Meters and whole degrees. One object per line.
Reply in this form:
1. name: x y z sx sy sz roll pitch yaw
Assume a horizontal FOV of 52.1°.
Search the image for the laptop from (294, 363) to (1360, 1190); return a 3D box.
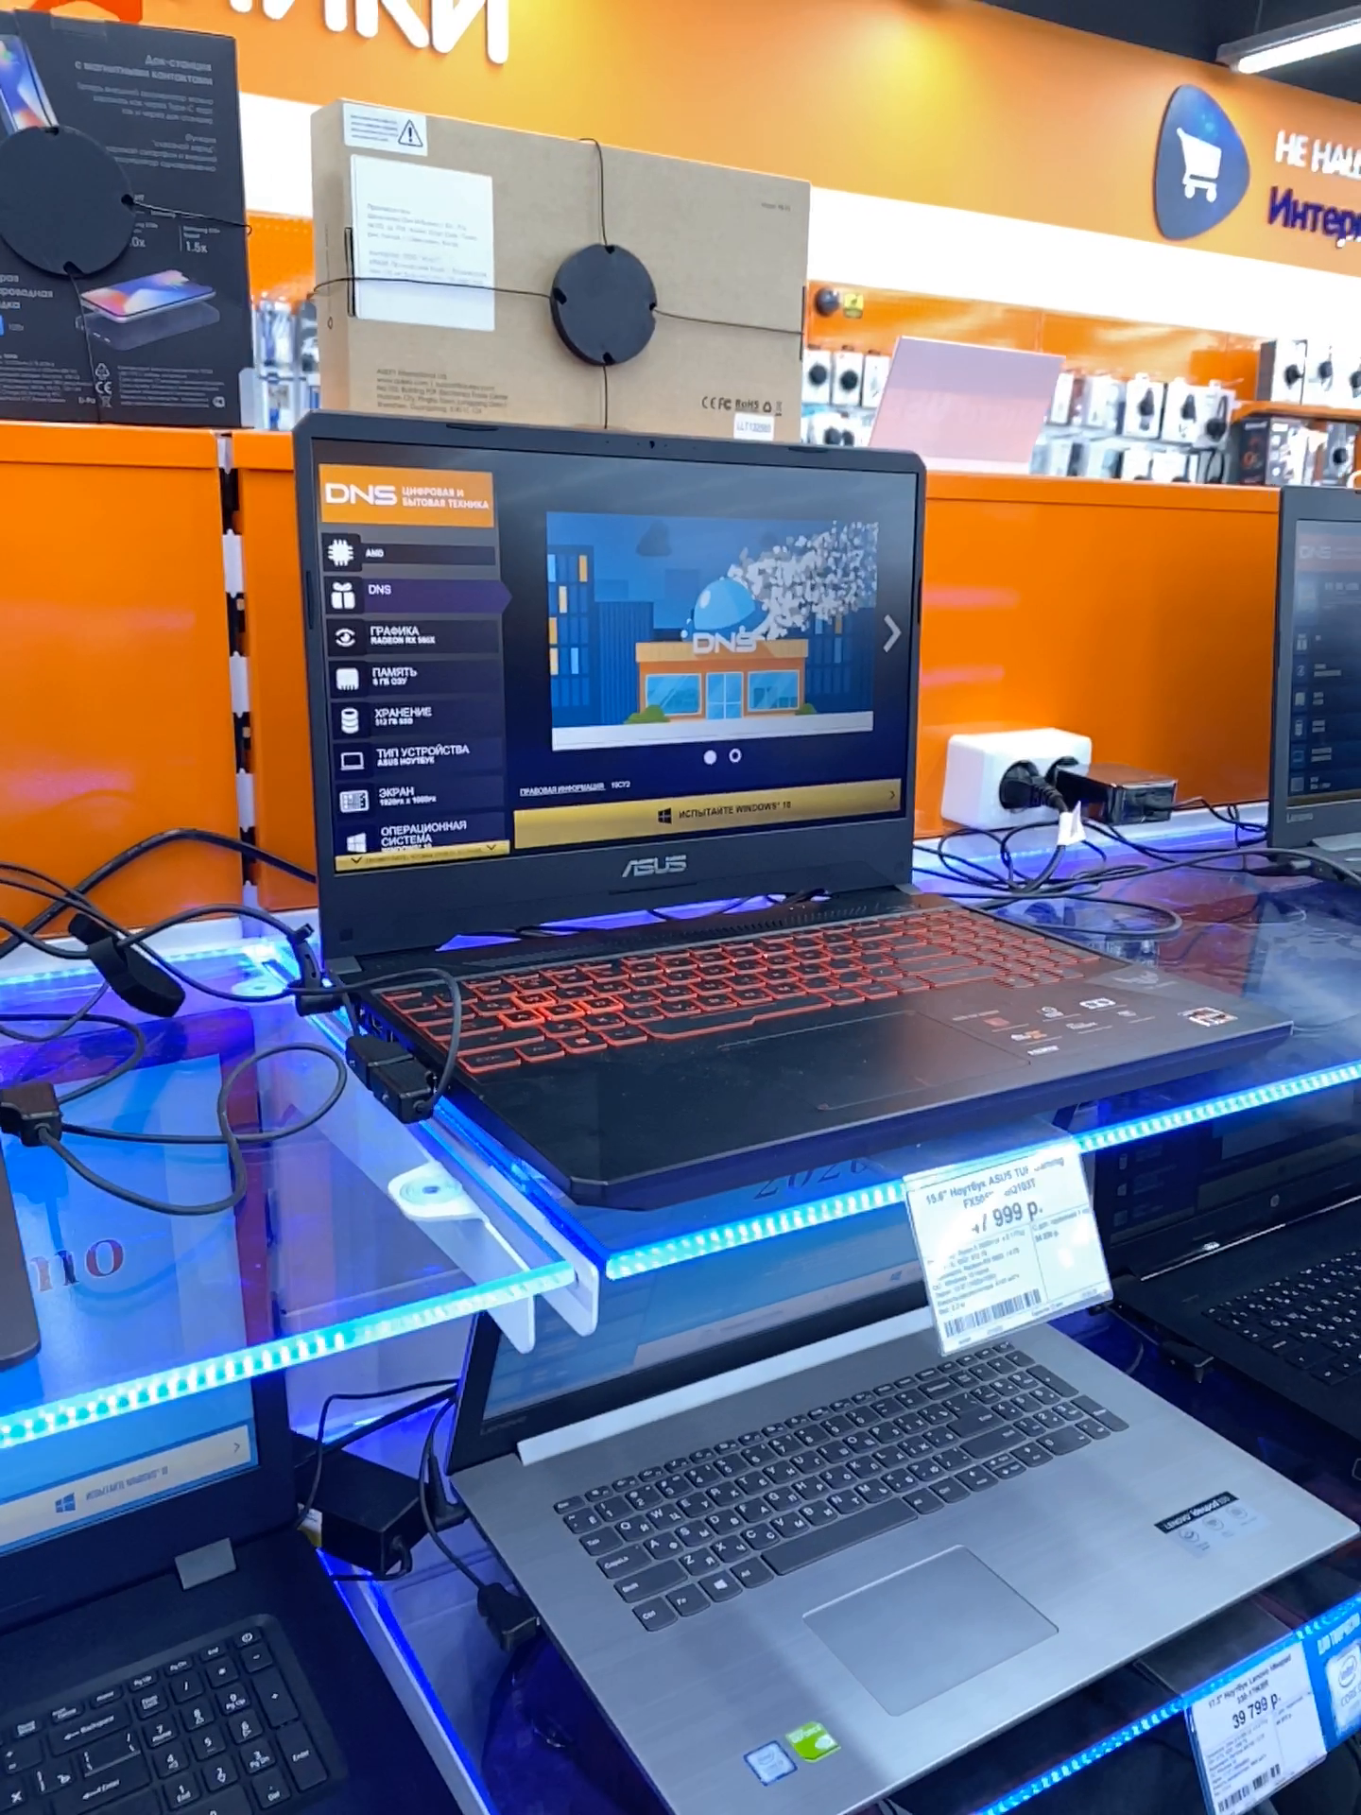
1. laptop: 0.055 -0.082 0.622 0.359 0.248 0.287 -7 17 -31
